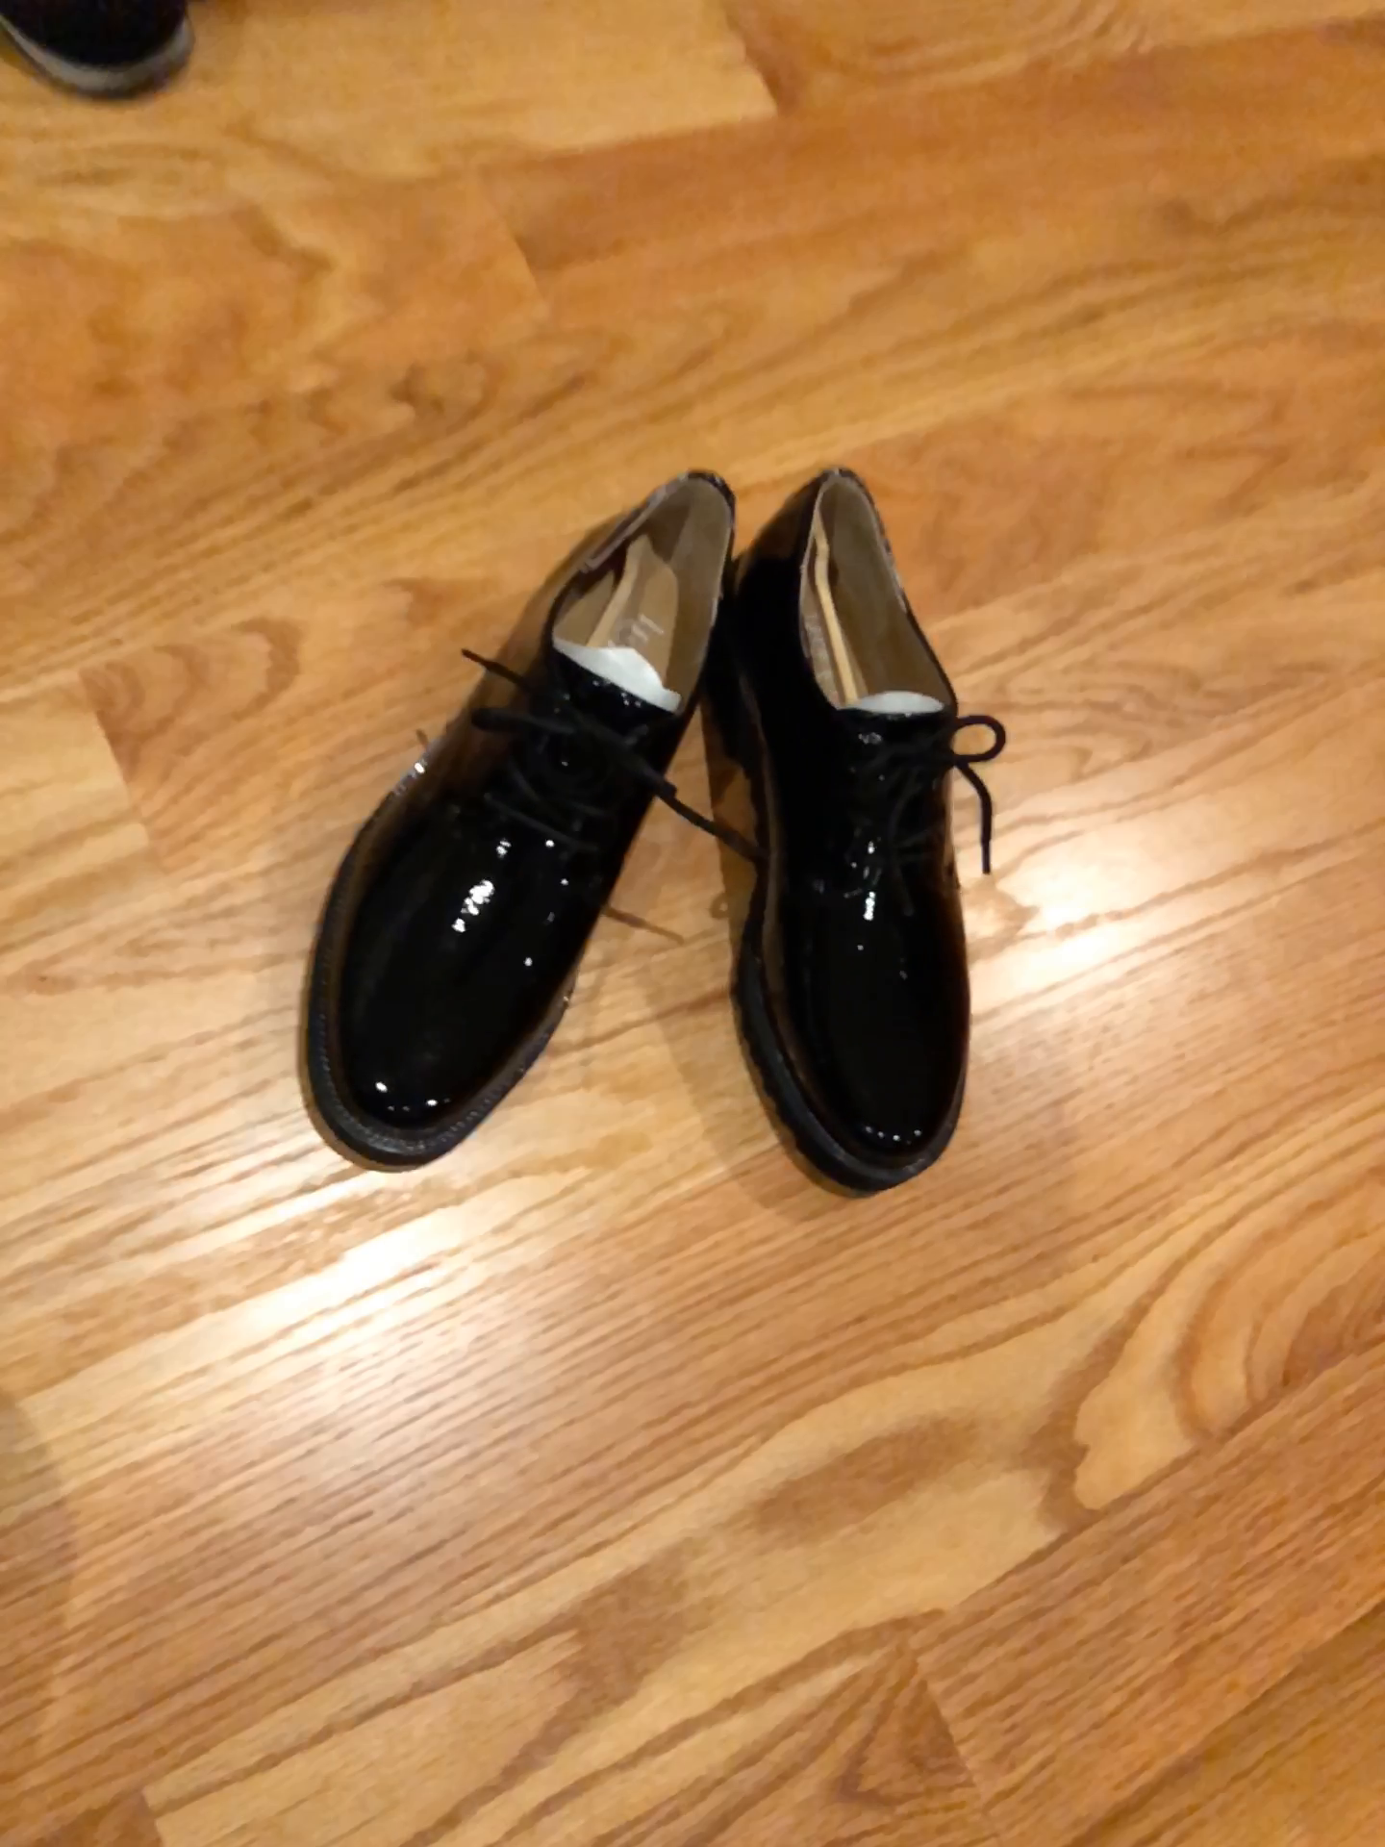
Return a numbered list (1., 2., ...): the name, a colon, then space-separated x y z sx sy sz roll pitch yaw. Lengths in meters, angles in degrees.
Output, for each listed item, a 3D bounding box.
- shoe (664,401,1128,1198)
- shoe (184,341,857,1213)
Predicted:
1. shoe: 0.062 -0.039 0.536 0.095 0.102 0.251 0 74 -19
2. shoe: -0.054 -0.047 0.496 0.095 0.102 0.251 30 67 -8
